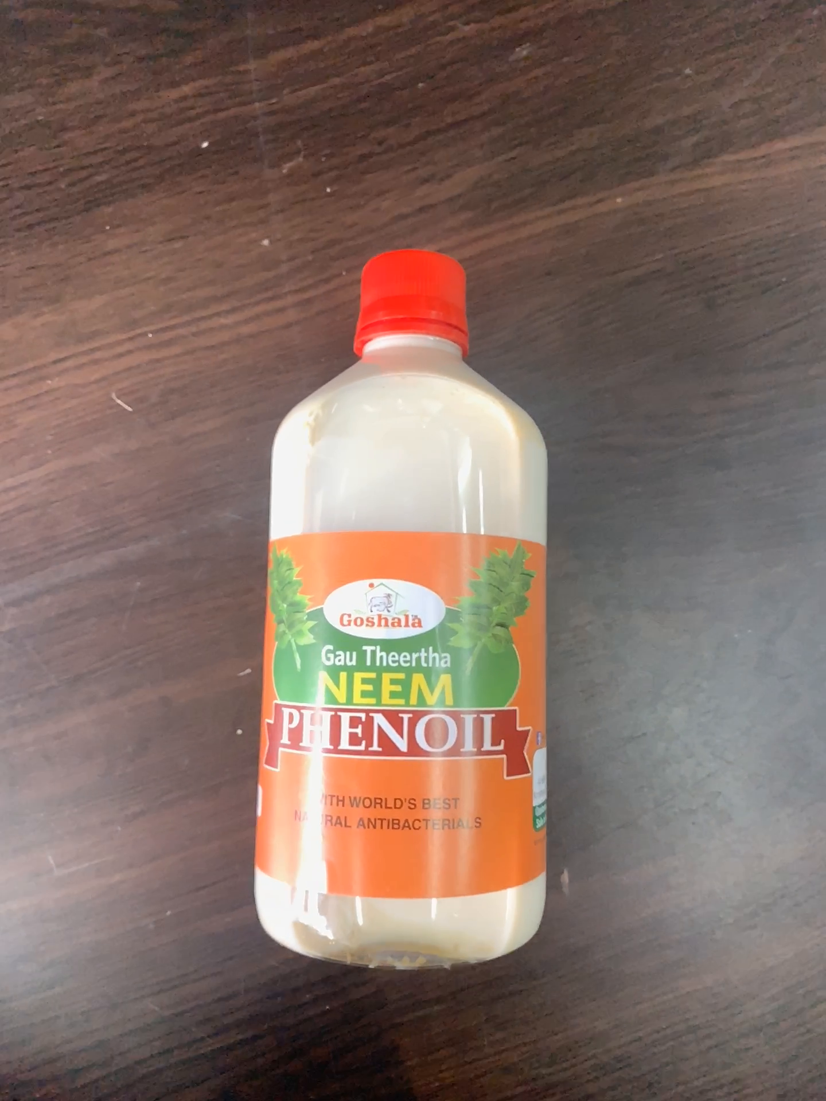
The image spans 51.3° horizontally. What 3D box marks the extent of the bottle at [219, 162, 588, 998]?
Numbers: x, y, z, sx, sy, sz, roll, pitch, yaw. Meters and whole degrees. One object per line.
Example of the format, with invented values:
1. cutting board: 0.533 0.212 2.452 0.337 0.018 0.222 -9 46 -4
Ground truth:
1. bottle: -0.001 0.006 0.232 0.080 0.070 0.190 1 85 0
